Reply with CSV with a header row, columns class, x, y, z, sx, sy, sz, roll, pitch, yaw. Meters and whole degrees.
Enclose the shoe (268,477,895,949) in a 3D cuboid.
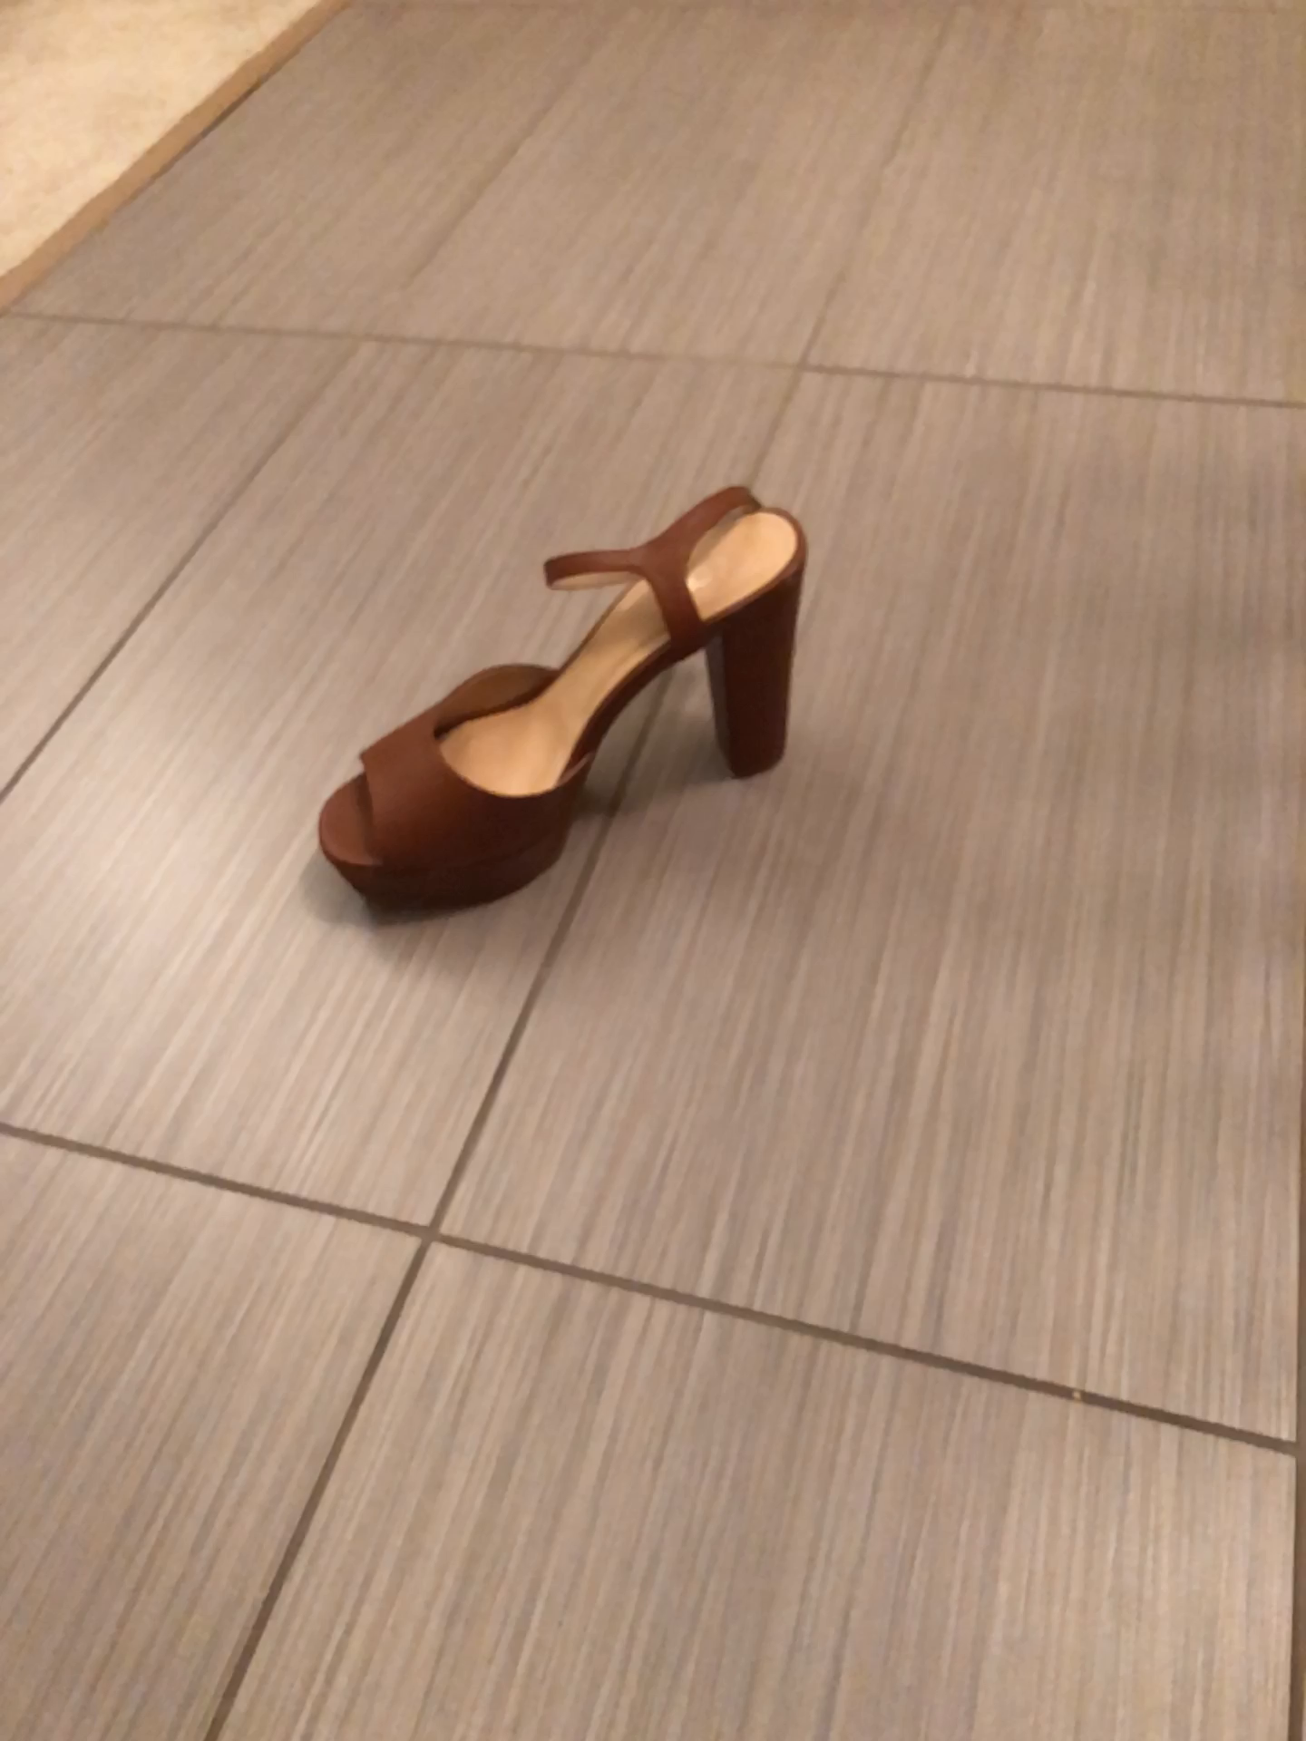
class,x,y,z,sx,sy,sz,roll,pitch,yaw
shoe,-0.031,-0.069,0.627,0.240,0.090,0.111,-17,48,-1
